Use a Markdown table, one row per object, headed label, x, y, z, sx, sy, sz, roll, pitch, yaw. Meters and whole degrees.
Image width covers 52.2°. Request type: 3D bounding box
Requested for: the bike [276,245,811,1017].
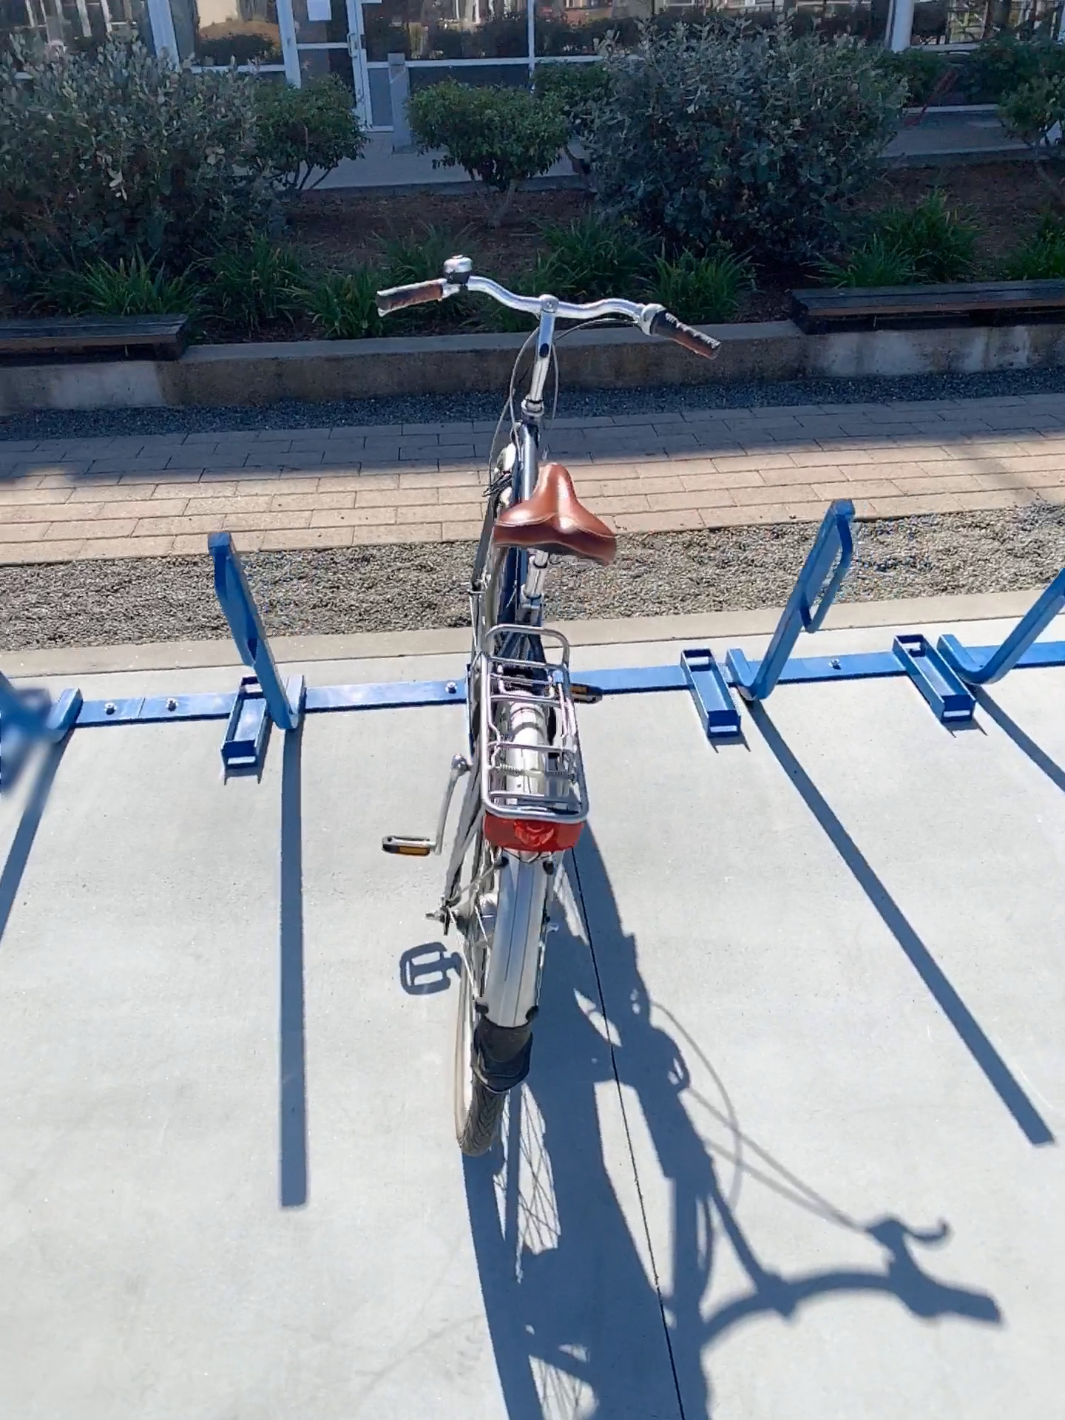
| label | x | y | z | sx | sy | sz | roll | pitch | yaw |
| --- | --- | --- | --- | --- | --- | --- | --- | --- | --- |
| bike | 0.011 | -0.205 | 1.893 | 0.590 | 0.915 | 1.067 | -2 | 33 | 0 |
